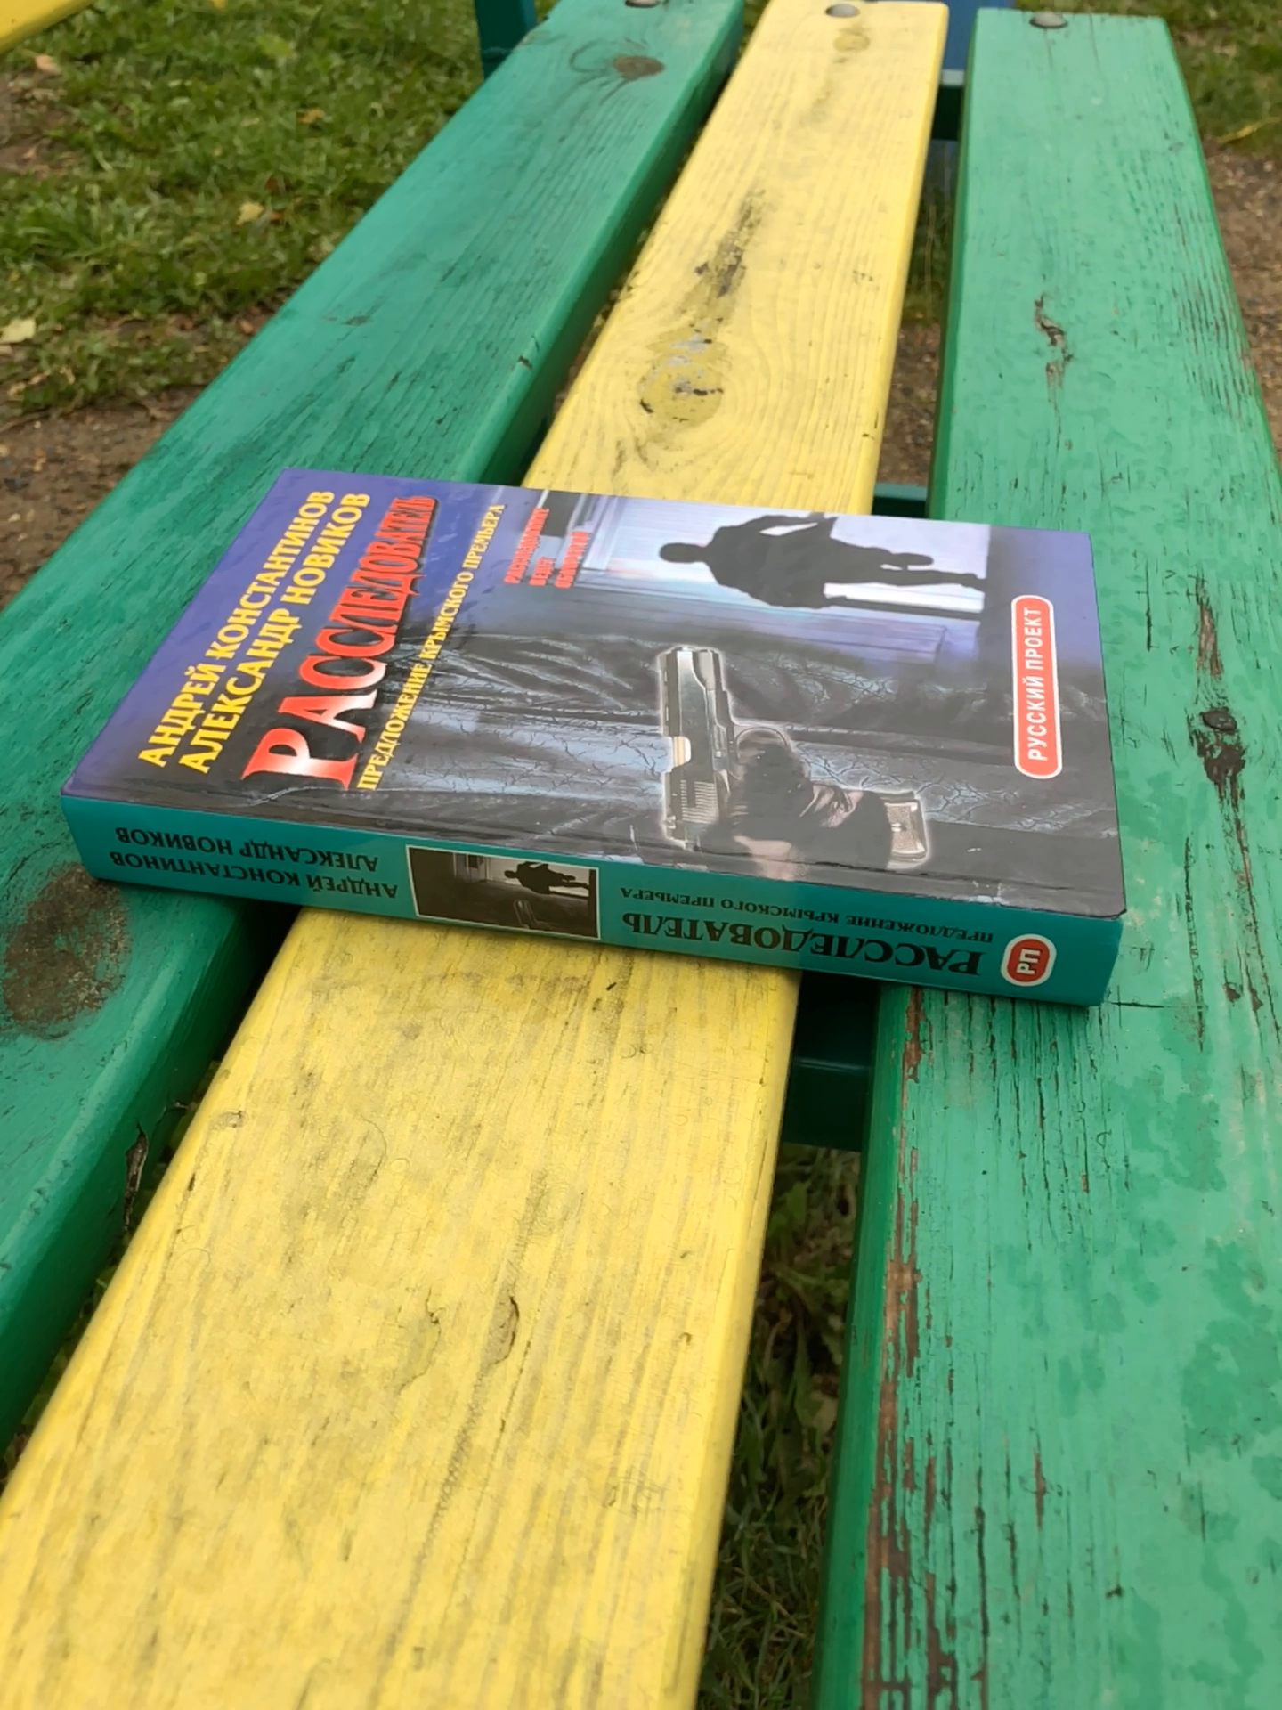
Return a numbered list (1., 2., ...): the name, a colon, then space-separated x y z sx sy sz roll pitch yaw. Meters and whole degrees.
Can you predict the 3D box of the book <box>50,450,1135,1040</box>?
1. book: -0.002 -0.035 0.319 0.201 0.031 0.139 7 44 7
